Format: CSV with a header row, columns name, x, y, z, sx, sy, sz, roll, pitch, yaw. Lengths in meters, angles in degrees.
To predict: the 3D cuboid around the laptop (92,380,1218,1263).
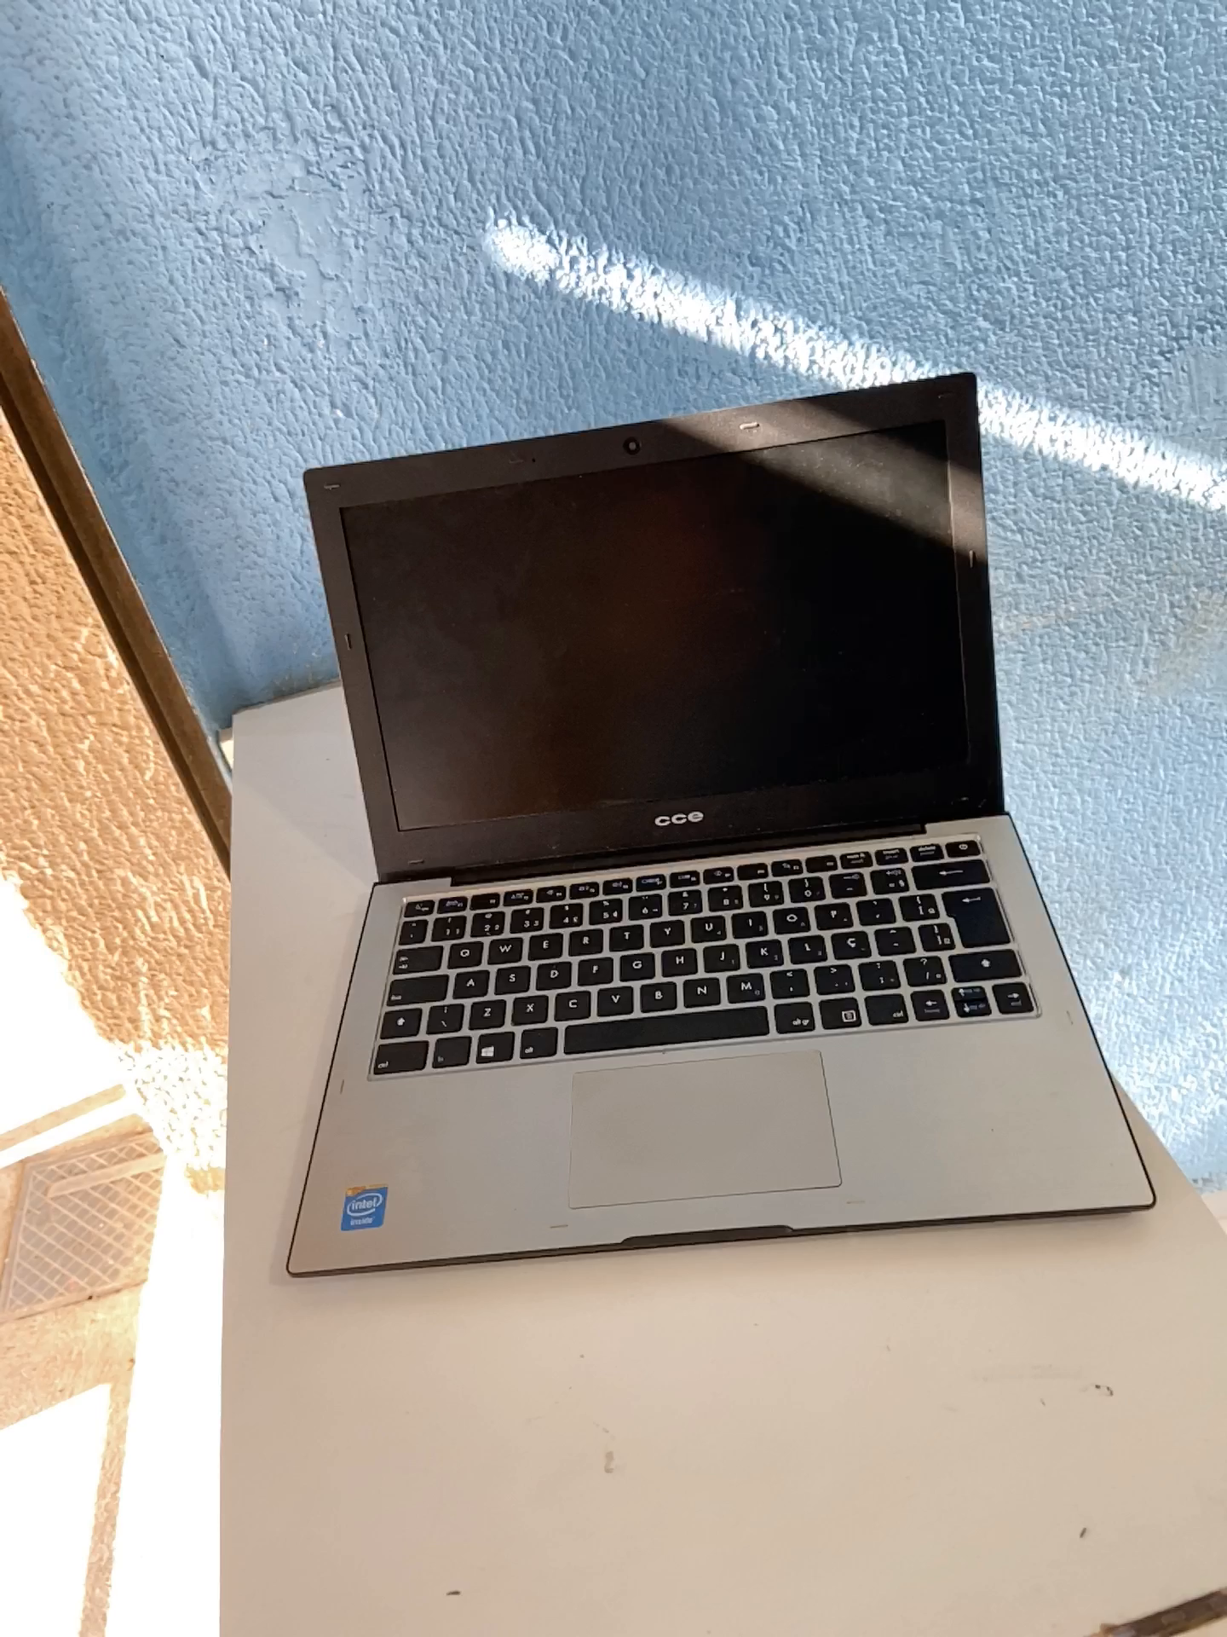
name,x,y,z,sx,sy,sz,roll,pitch,yaw
laptop,0.019,-0.015,0.521,0.313,0.181,0.305,-6,39,5
